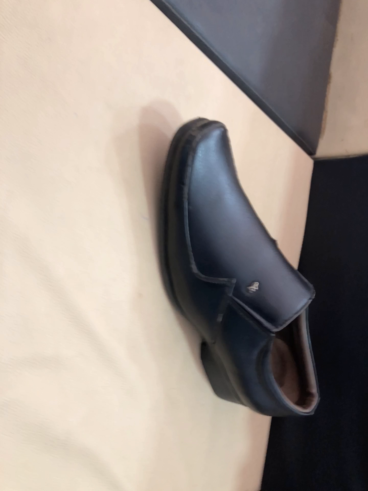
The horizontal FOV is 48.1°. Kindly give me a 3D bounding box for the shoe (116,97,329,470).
[{"bbox_3d":[0.049,0.038,0.371,0.101,0.089,0.301,-35,118,-41],"label":"shoe"}]
